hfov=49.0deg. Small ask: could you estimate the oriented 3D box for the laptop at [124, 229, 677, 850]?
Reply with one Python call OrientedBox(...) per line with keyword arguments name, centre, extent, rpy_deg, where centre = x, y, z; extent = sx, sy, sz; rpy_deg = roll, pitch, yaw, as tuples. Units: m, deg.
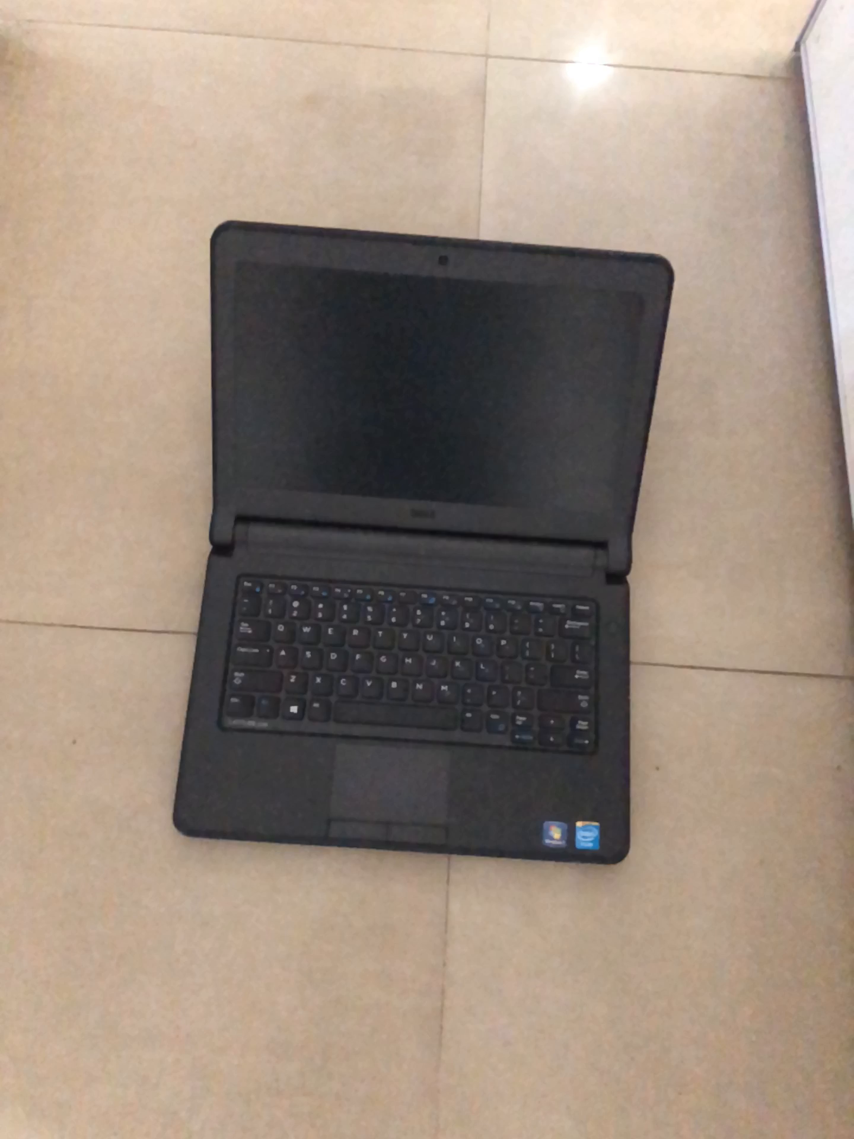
OrientedBox(name="laptop", centre=(-0.006, -0.017, 0.664), extent=(0.312, 0.154, 0.393), rpy_deg=(3, 72, -1))
